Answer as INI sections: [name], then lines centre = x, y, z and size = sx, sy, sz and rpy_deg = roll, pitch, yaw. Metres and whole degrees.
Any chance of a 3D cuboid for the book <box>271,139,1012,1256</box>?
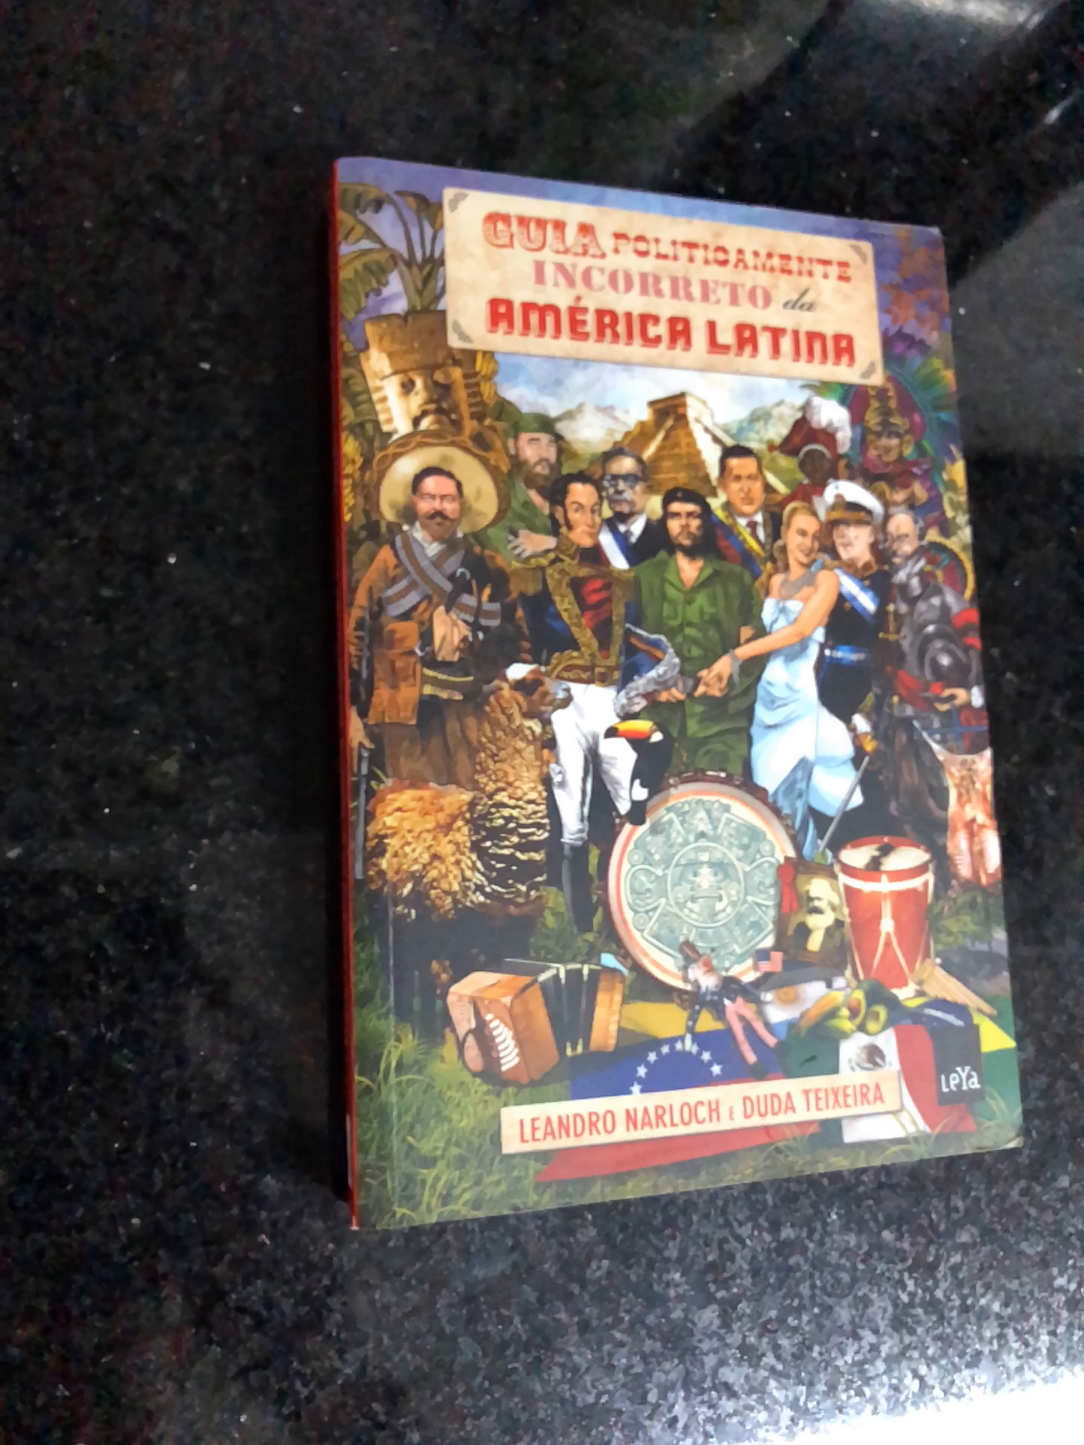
[book]
centre = 0.019, -0.010, 0.275
size = 0.150, 0.040, 0.220
rpy_deg = -1, 82, -17
